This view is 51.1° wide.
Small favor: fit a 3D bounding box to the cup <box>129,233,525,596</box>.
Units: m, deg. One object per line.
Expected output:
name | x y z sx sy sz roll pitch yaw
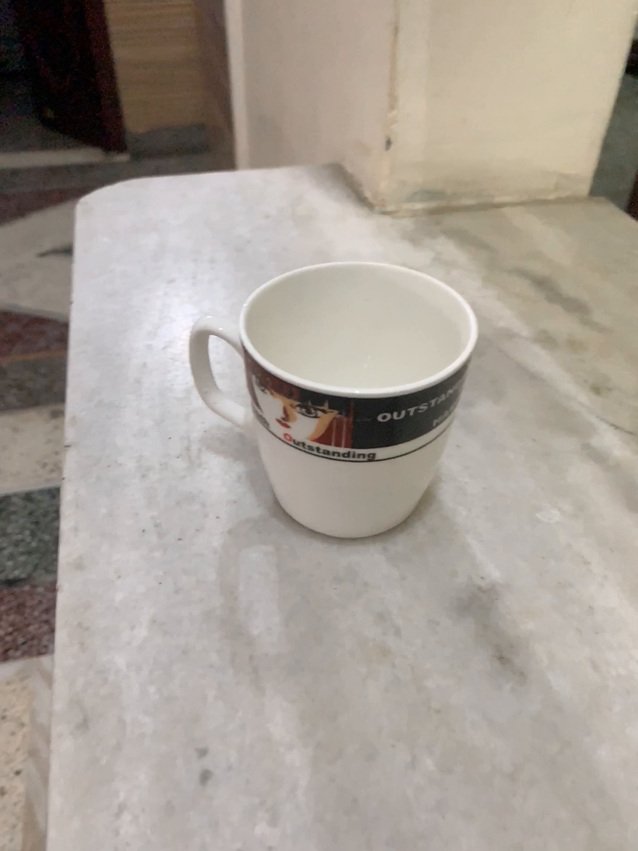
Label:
cup | 0.004 -0.008 0.208 0.090 0.060 0.070 19 44 19
